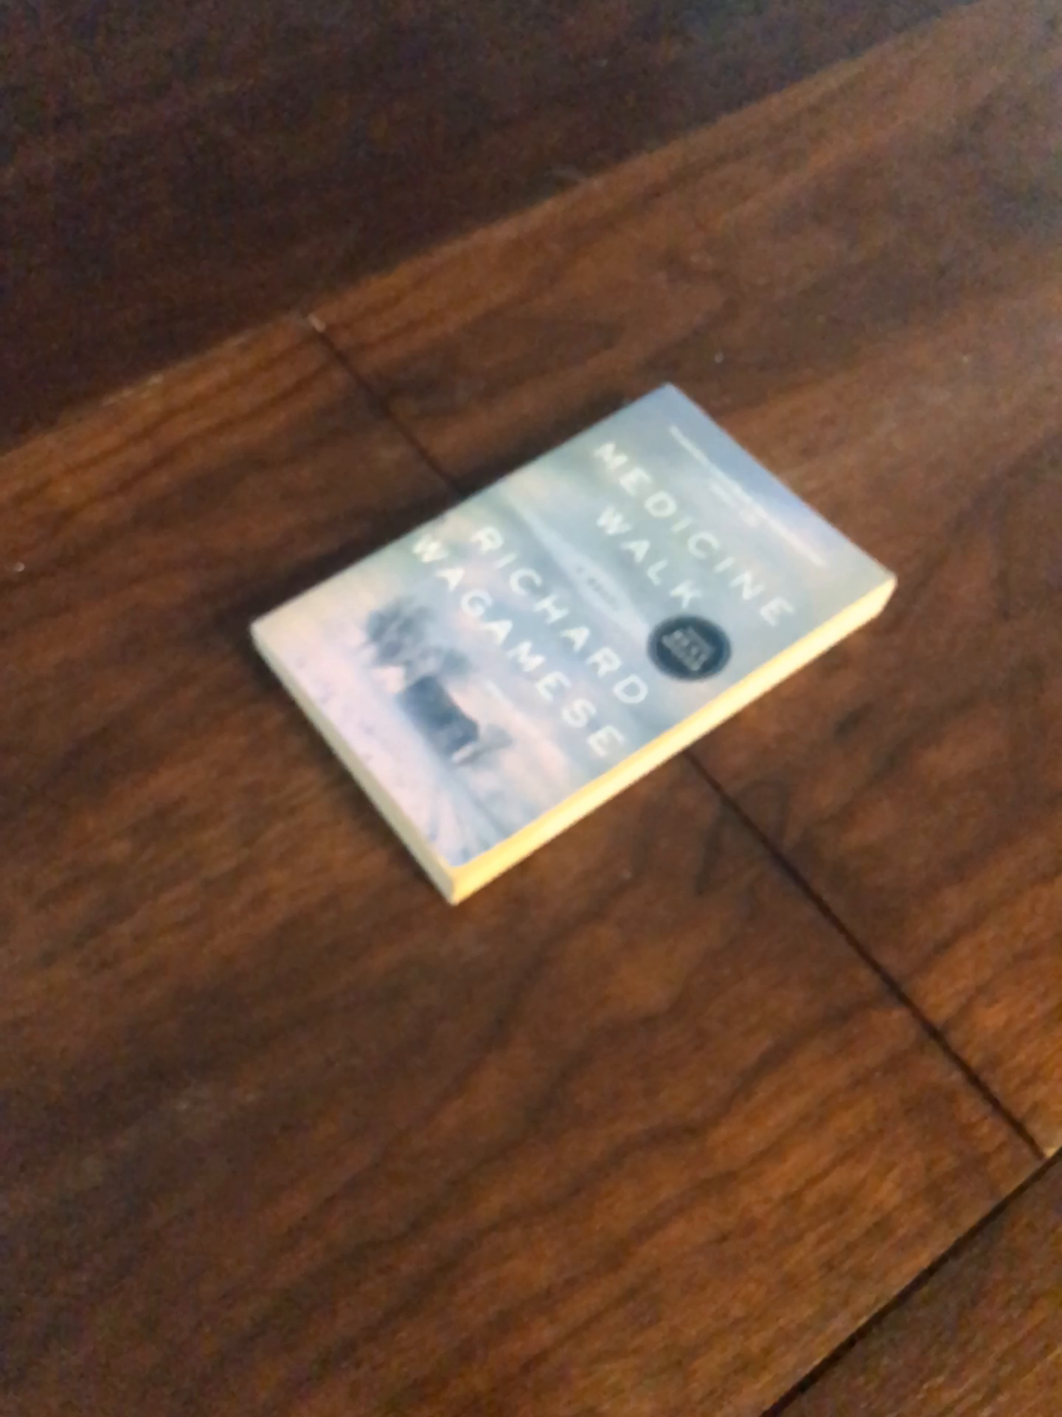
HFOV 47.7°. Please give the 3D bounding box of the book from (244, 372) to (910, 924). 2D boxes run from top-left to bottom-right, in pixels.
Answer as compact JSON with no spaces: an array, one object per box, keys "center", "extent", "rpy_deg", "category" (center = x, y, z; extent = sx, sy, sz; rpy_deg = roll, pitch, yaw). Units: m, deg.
[{"center":[0.018,-0.034,0.457],"extent":[0.206,0.027,0.138],"rpy_deg":[-33,65,-18],"category":"book"}]
